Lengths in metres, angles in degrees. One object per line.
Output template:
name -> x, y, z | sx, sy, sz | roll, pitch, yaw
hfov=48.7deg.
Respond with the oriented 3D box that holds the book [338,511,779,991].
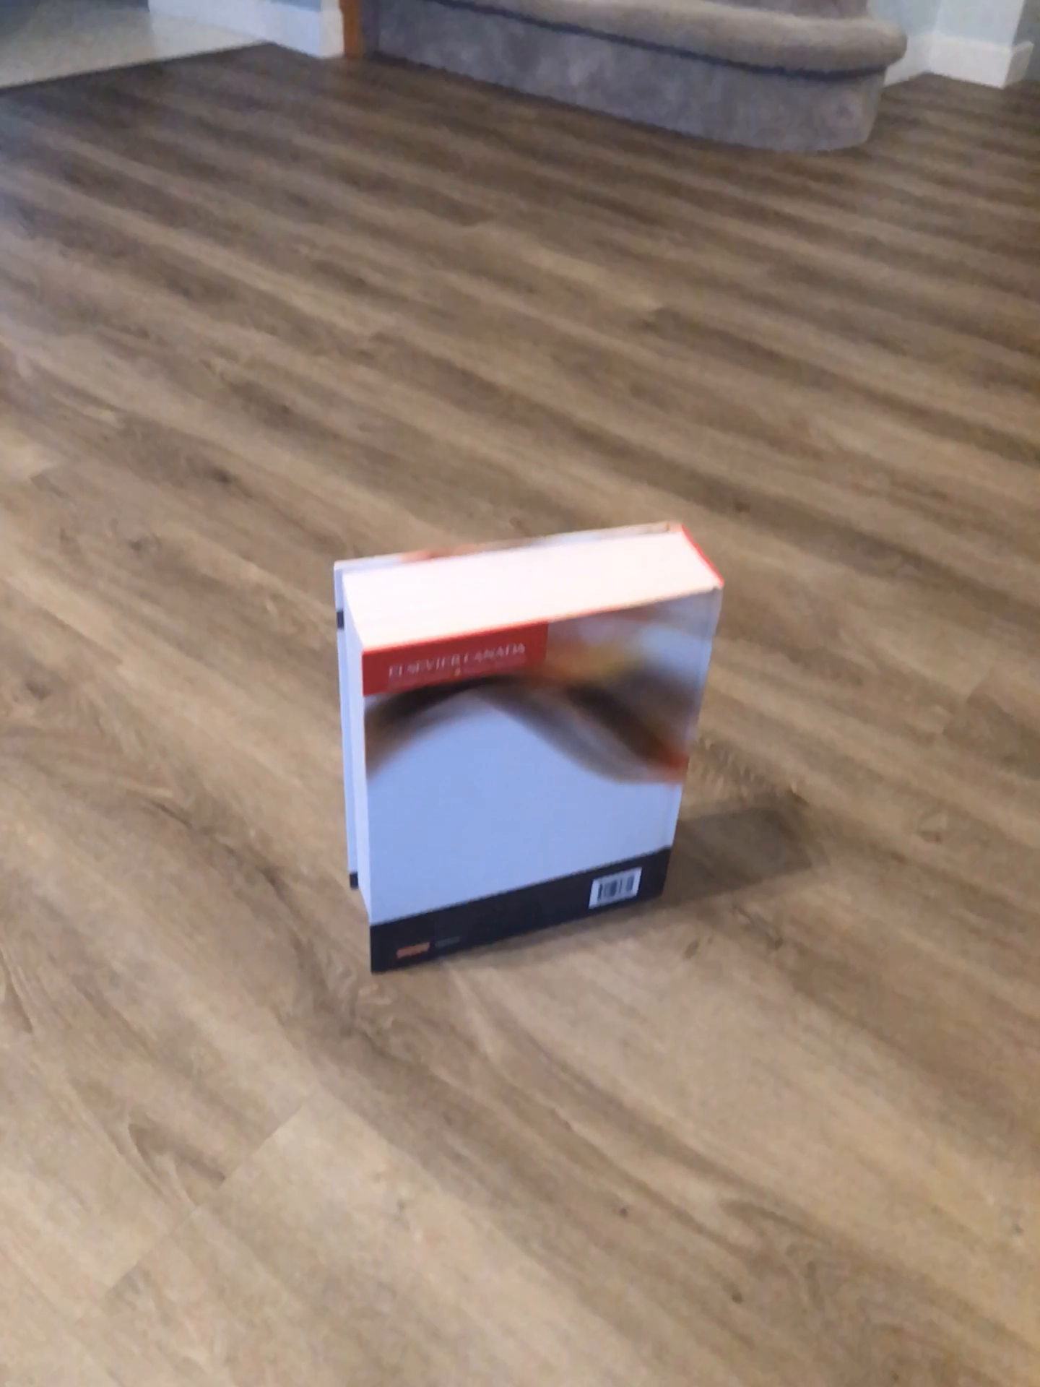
book -> 0.015, 0.043, 0.752 | 0.240, 0.290, 0.087 | -9, 40, -16
